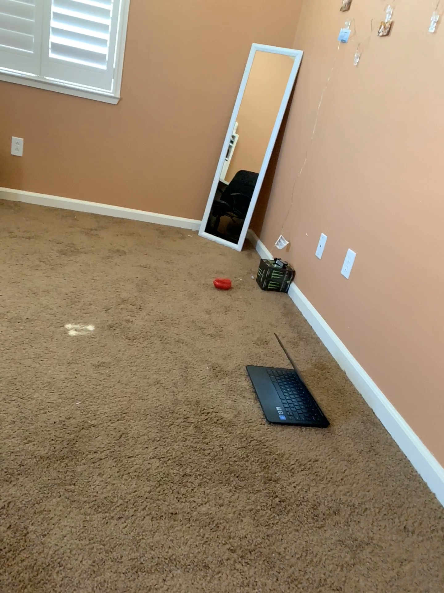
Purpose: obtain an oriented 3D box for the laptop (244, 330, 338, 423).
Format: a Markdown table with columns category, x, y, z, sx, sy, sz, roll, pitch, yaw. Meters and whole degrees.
| category | x | y | z | sx | sy | sz | roll | pitch | yaw |
| --- | --- | --- | --- | --- | --- | --- | --- | --- | --- |
| laptop | 0.206 | 0.244 | 1.439 | 0.191 | 0.140 | 0.293 | 6 | 23 | -13 |
